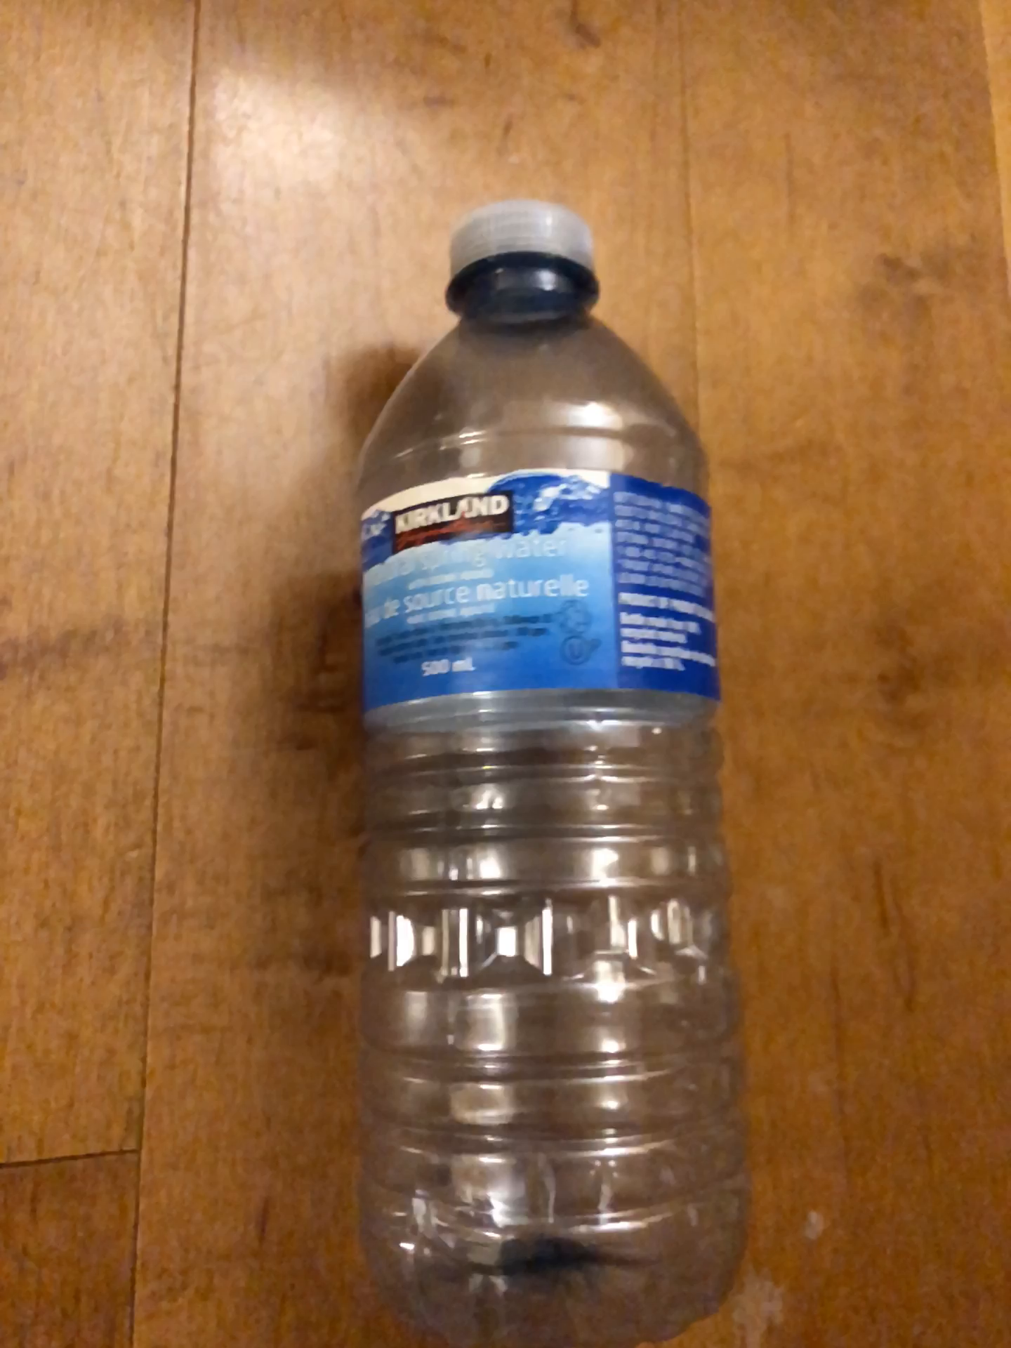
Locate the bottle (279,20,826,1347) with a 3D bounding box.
[{"bbox_3d":[0.009,0.003,0.205,0.070,0.070,0.200,26,59,-67],"label":"bottle"}]
